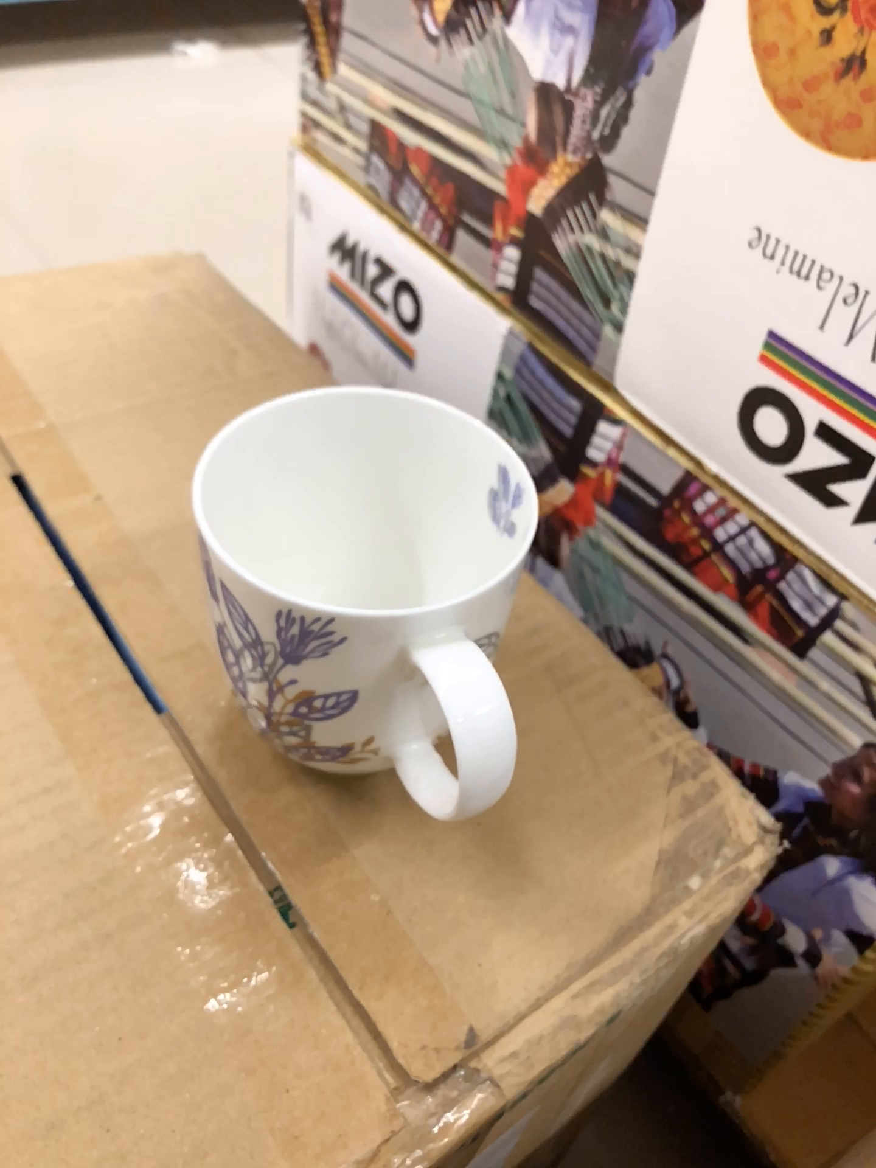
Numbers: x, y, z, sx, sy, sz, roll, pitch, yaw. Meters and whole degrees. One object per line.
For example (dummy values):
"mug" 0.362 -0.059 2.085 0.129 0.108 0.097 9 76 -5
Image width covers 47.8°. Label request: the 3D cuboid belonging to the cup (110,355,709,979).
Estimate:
"cup" -0.015 0.012 0.251 0.090 0.070 0.120 -19 51 -26
